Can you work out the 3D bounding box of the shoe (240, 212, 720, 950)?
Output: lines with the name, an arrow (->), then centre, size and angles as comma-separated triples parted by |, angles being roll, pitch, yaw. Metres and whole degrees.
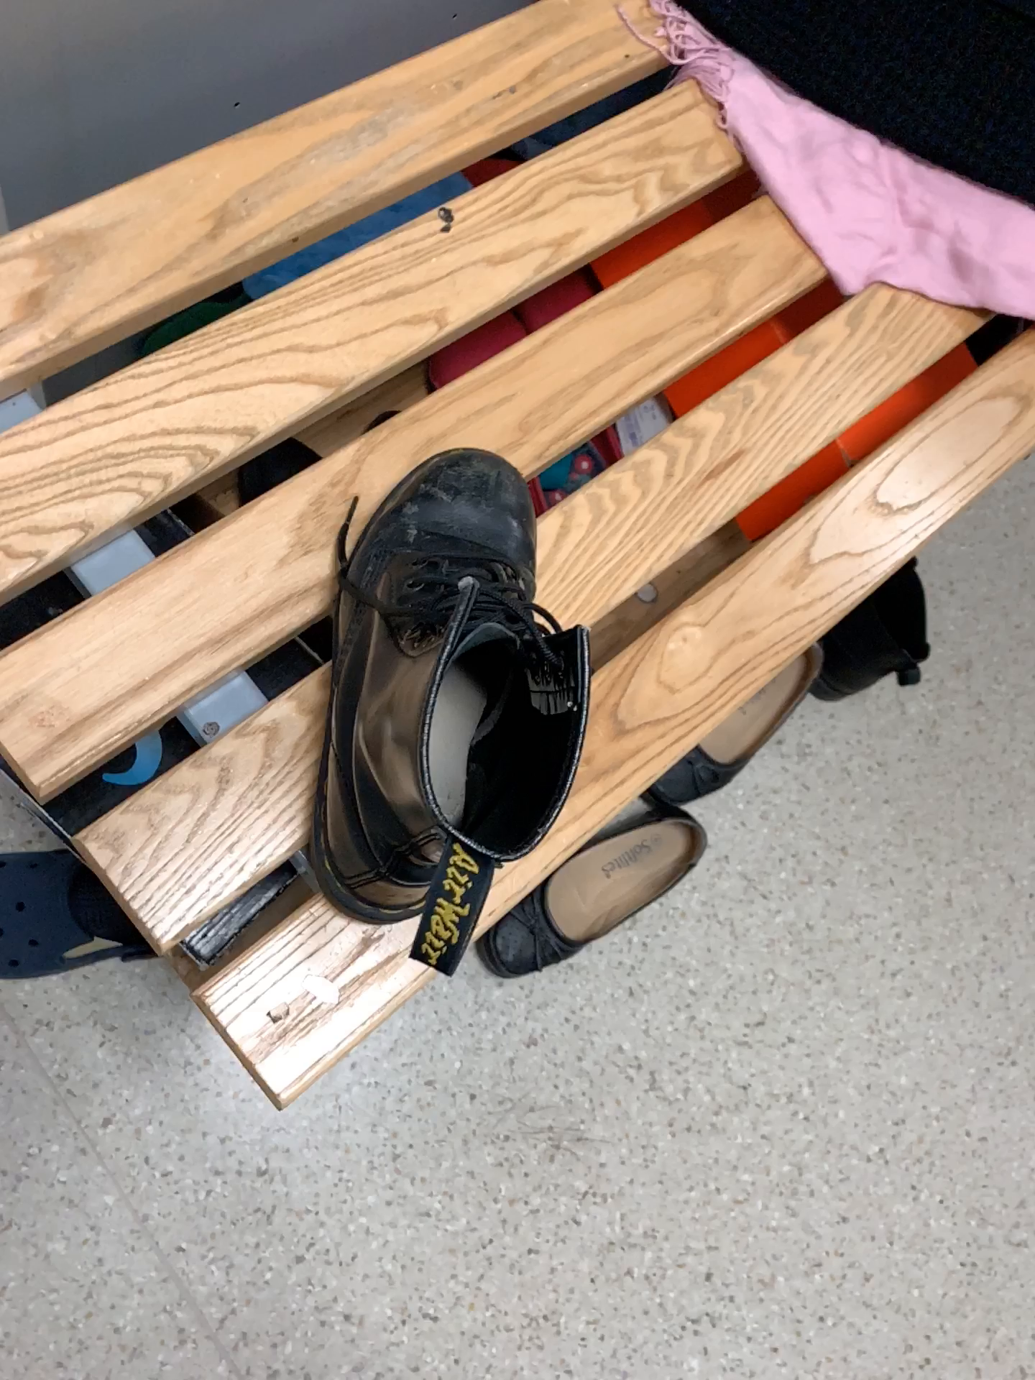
shoe -> -0.025, -0.028, 0.479 | 0.106, 0.199, 0.261 | 19, 71, -13
